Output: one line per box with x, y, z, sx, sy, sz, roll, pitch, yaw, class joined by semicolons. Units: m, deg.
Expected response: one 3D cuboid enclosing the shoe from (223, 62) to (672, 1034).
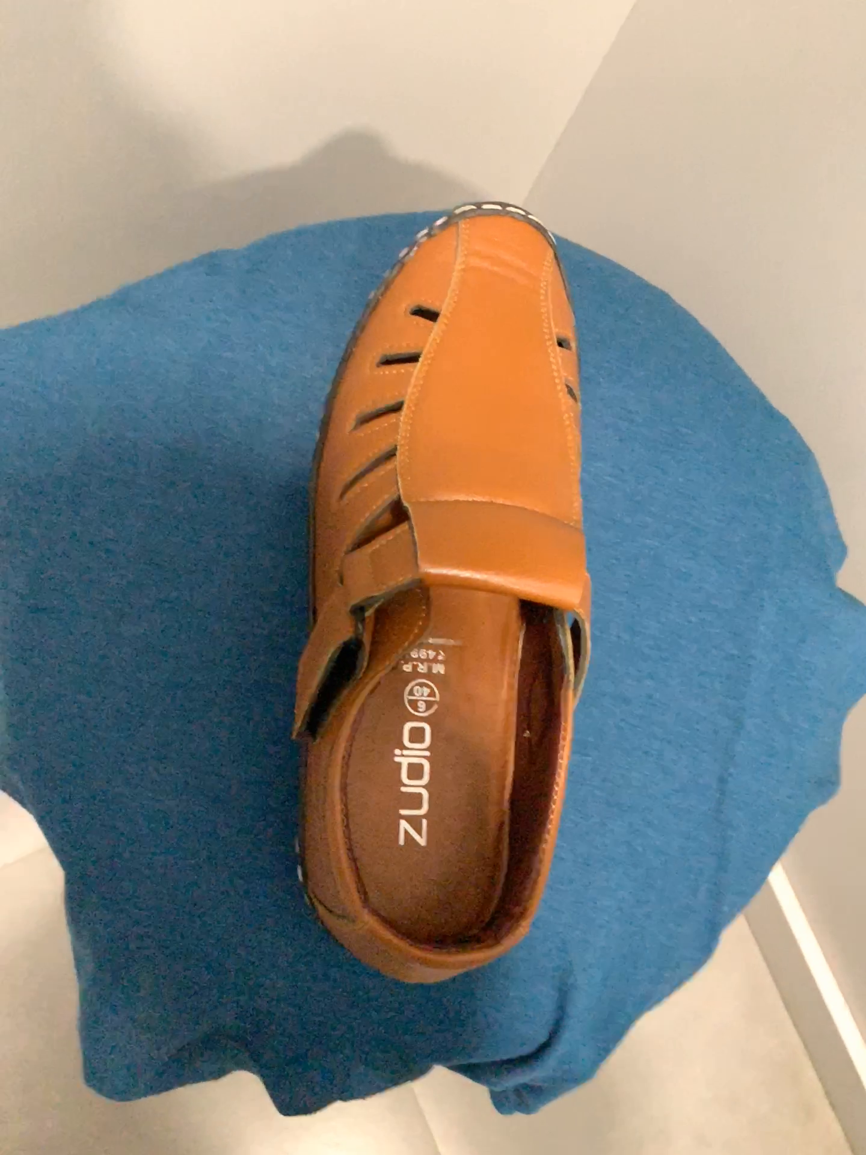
0.002;-0.009;0.302;0.100;0.100;0.270;9;79;-11;shoe
